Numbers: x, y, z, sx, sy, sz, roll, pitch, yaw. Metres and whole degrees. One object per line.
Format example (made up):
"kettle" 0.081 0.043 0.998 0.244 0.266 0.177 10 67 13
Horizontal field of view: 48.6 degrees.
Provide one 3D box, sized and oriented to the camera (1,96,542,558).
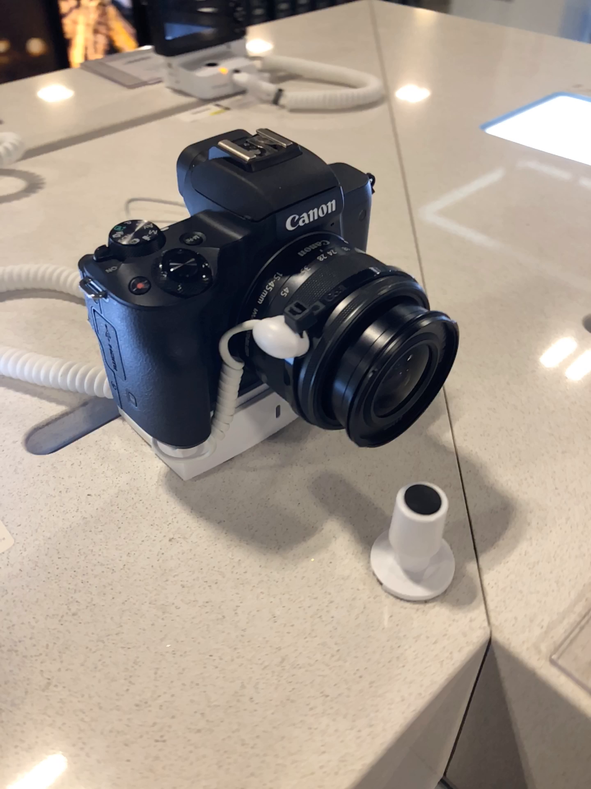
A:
"camera" -0.007 -0.039 0.241 0.130 0.079 0.120 -33 50 -30
